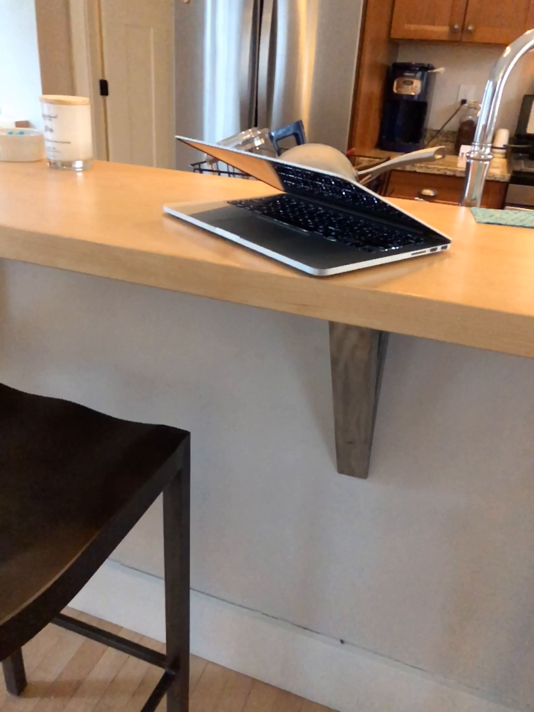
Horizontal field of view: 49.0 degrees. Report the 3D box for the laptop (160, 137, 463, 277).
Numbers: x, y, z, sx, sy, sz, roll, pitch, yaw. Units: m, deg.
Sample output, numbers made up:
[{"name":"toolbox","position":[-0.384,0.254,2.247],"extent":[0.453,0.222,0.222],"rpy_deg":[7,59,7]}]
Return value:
[{"name":"laptop","position":[0.038,-0.196,0.702],"extent":[0.211,0.084,0.300],"rpy_deg":[-16,33,-35]}]
